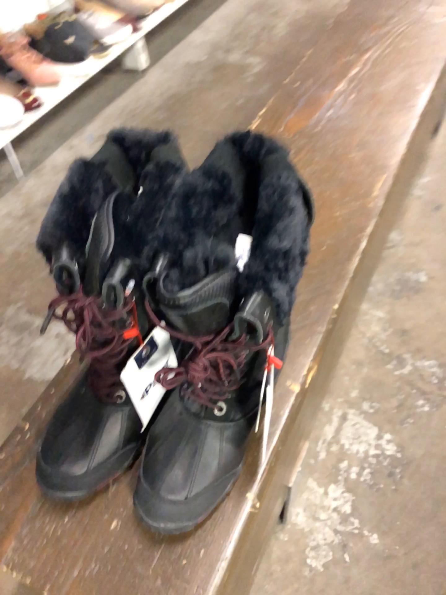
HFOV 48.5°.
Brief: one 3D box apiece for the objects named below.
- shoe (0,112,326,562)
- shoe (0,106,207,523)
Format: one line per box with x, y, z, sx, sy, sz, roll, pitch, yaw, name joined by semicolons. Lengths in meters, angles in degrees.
-0.012;0.040;0.391;0.100;0.258;0.231;16;54;16;shoe
-0.112;0.024;0.414;0.100;0.258;0.221;16;54;16;shoe
